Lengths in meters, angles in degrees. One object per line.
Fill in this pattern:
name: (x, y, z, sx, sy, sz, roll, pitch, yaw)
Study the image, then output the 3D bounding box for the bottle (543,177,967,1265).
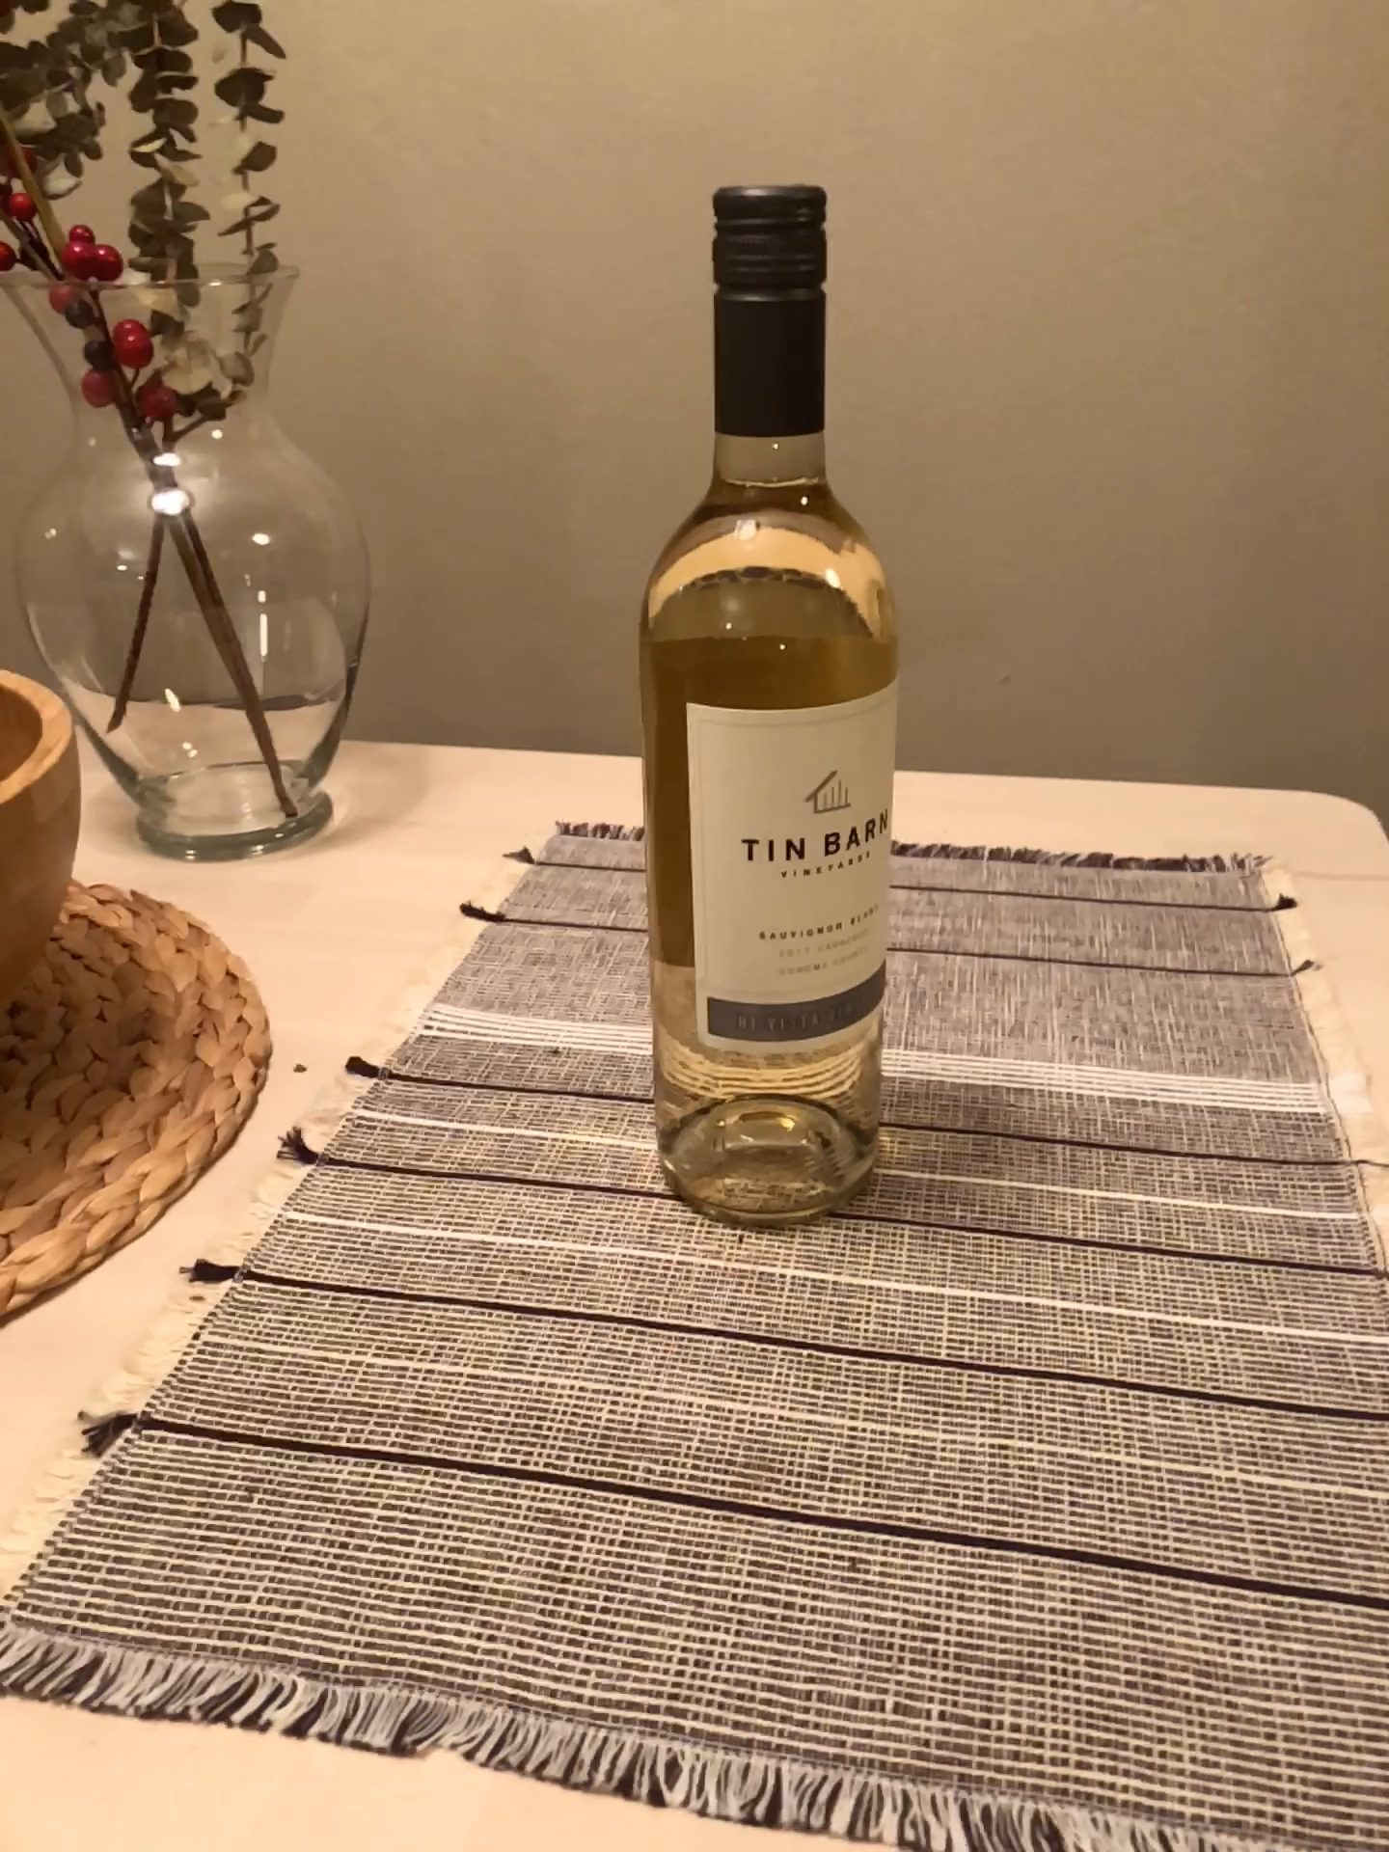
bottle: (0.016, -0.055, 0.454, 0.080, 0.298, 0.080, -1, 25, 0)
